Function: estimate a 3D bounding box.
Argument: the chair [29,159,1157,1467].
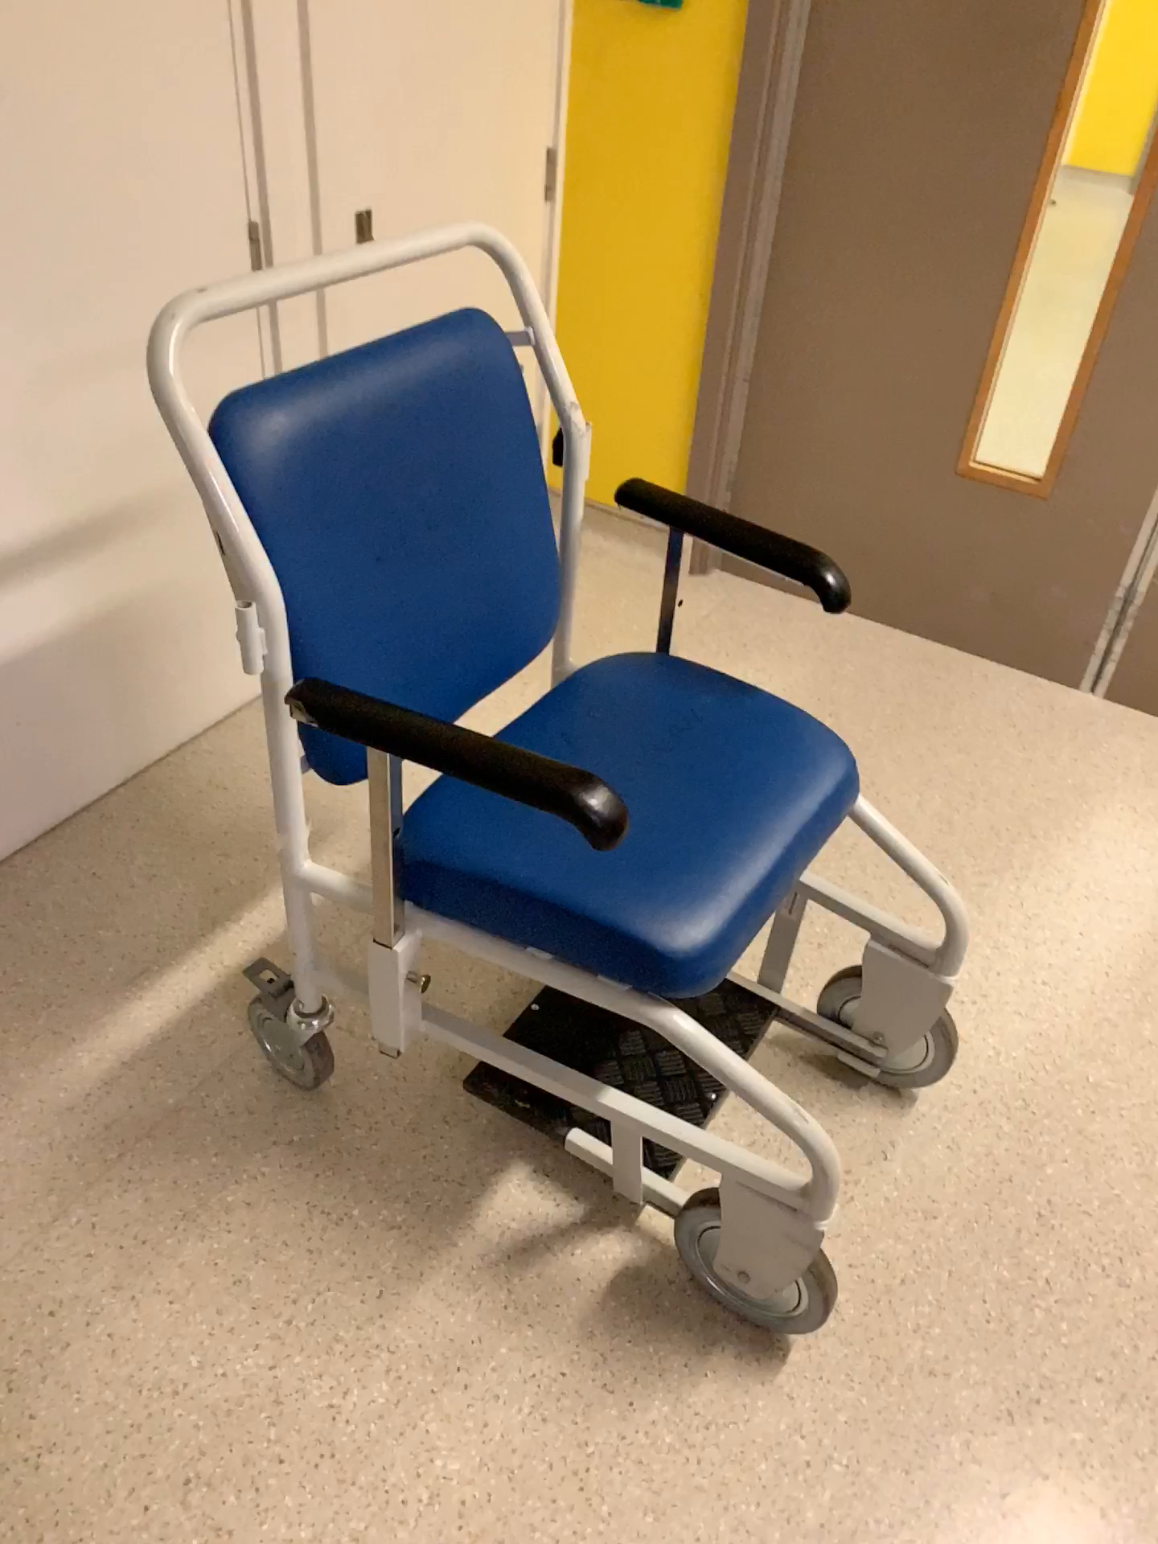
[{"bbox_3d":[0.102,-0.031,1.434,0.943,1.029,0.826,25,43,23],"label":"chair"}]
